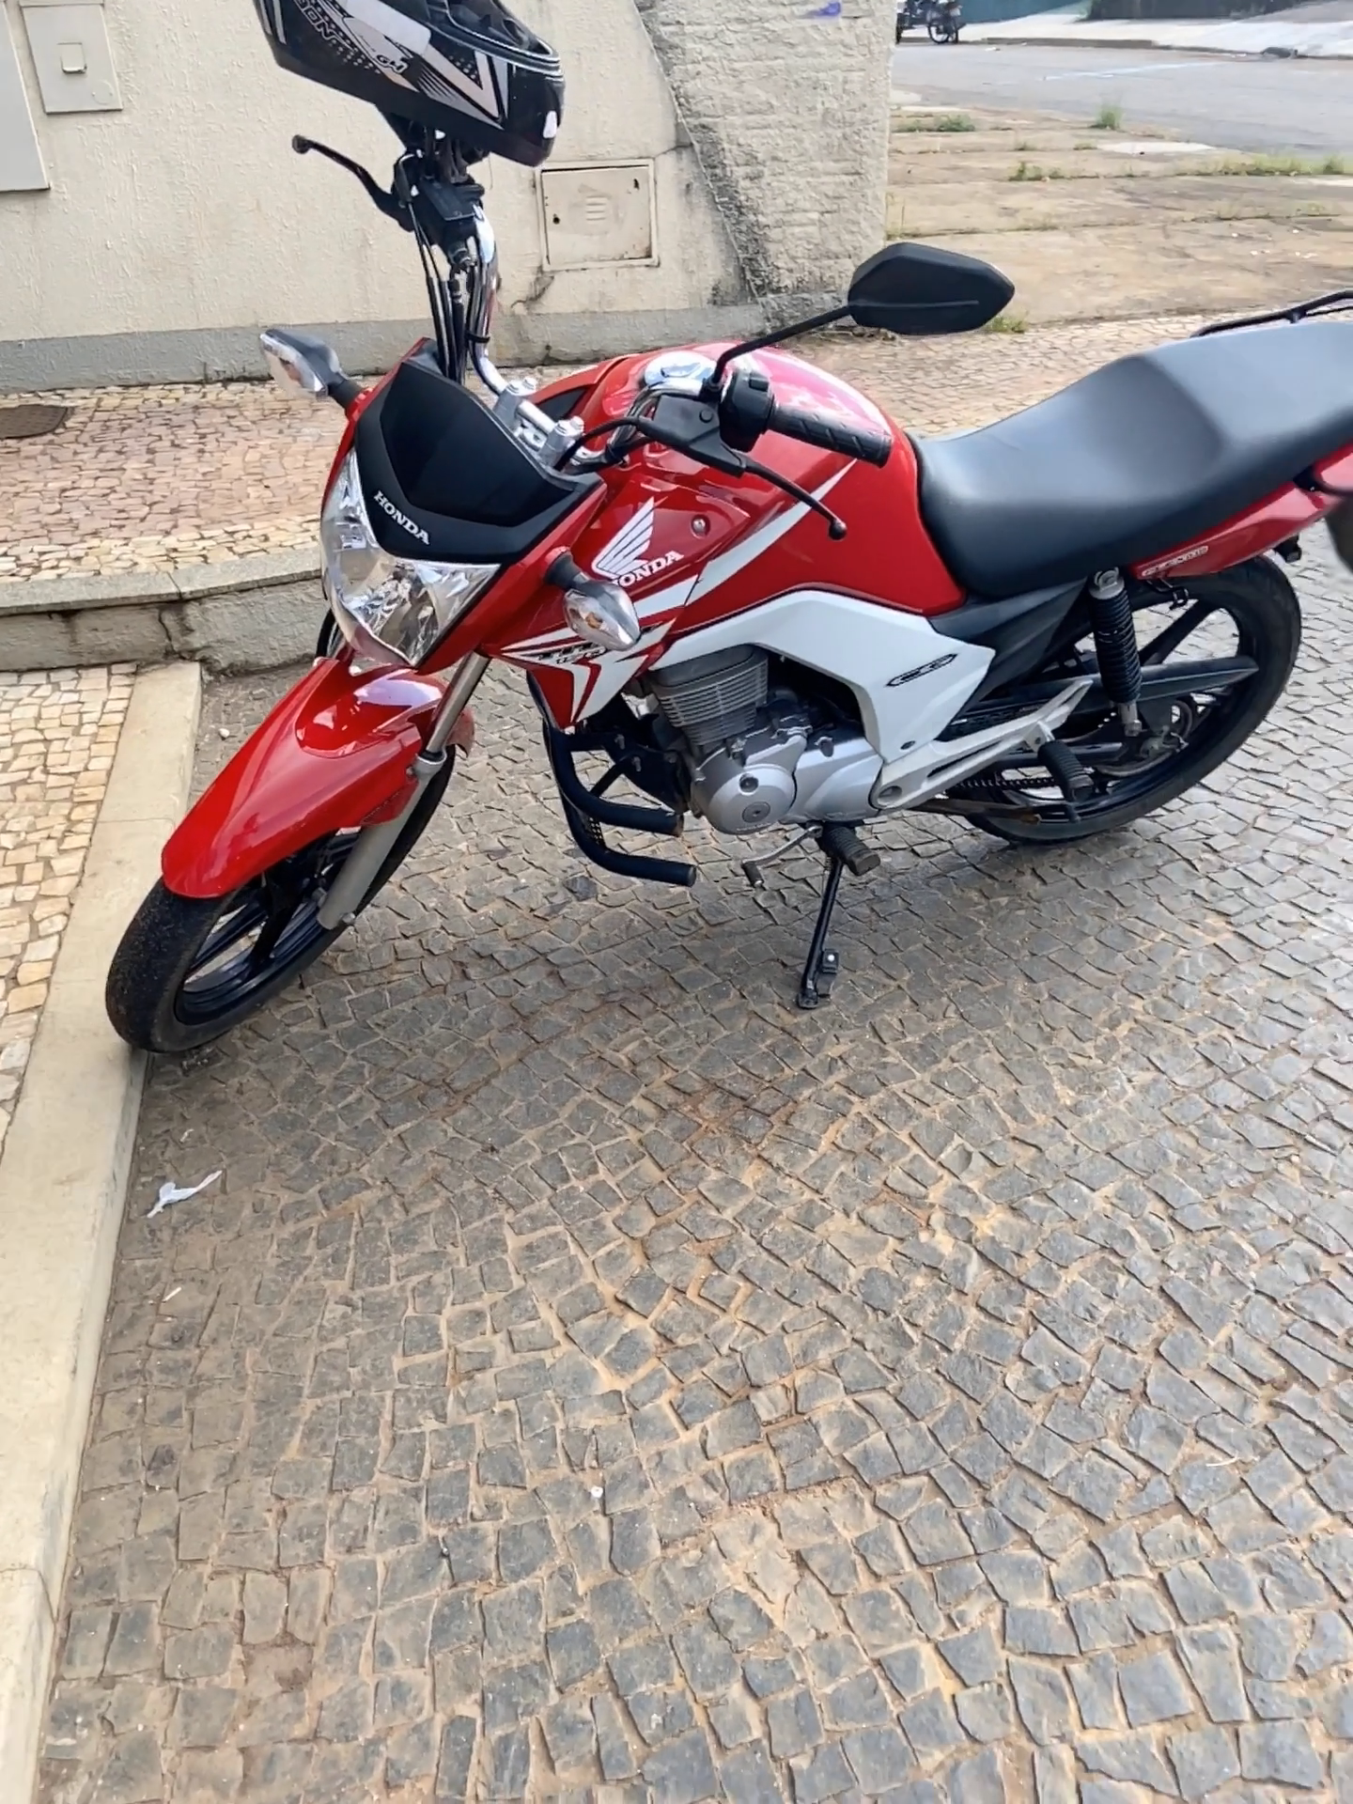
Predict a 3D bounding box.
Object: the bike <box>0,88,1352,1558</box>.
[{"bbox_3d":[0.254,-0.317,1.965,2.074,1.382,0.812,-19,35,-25],"label":"bike"}]
